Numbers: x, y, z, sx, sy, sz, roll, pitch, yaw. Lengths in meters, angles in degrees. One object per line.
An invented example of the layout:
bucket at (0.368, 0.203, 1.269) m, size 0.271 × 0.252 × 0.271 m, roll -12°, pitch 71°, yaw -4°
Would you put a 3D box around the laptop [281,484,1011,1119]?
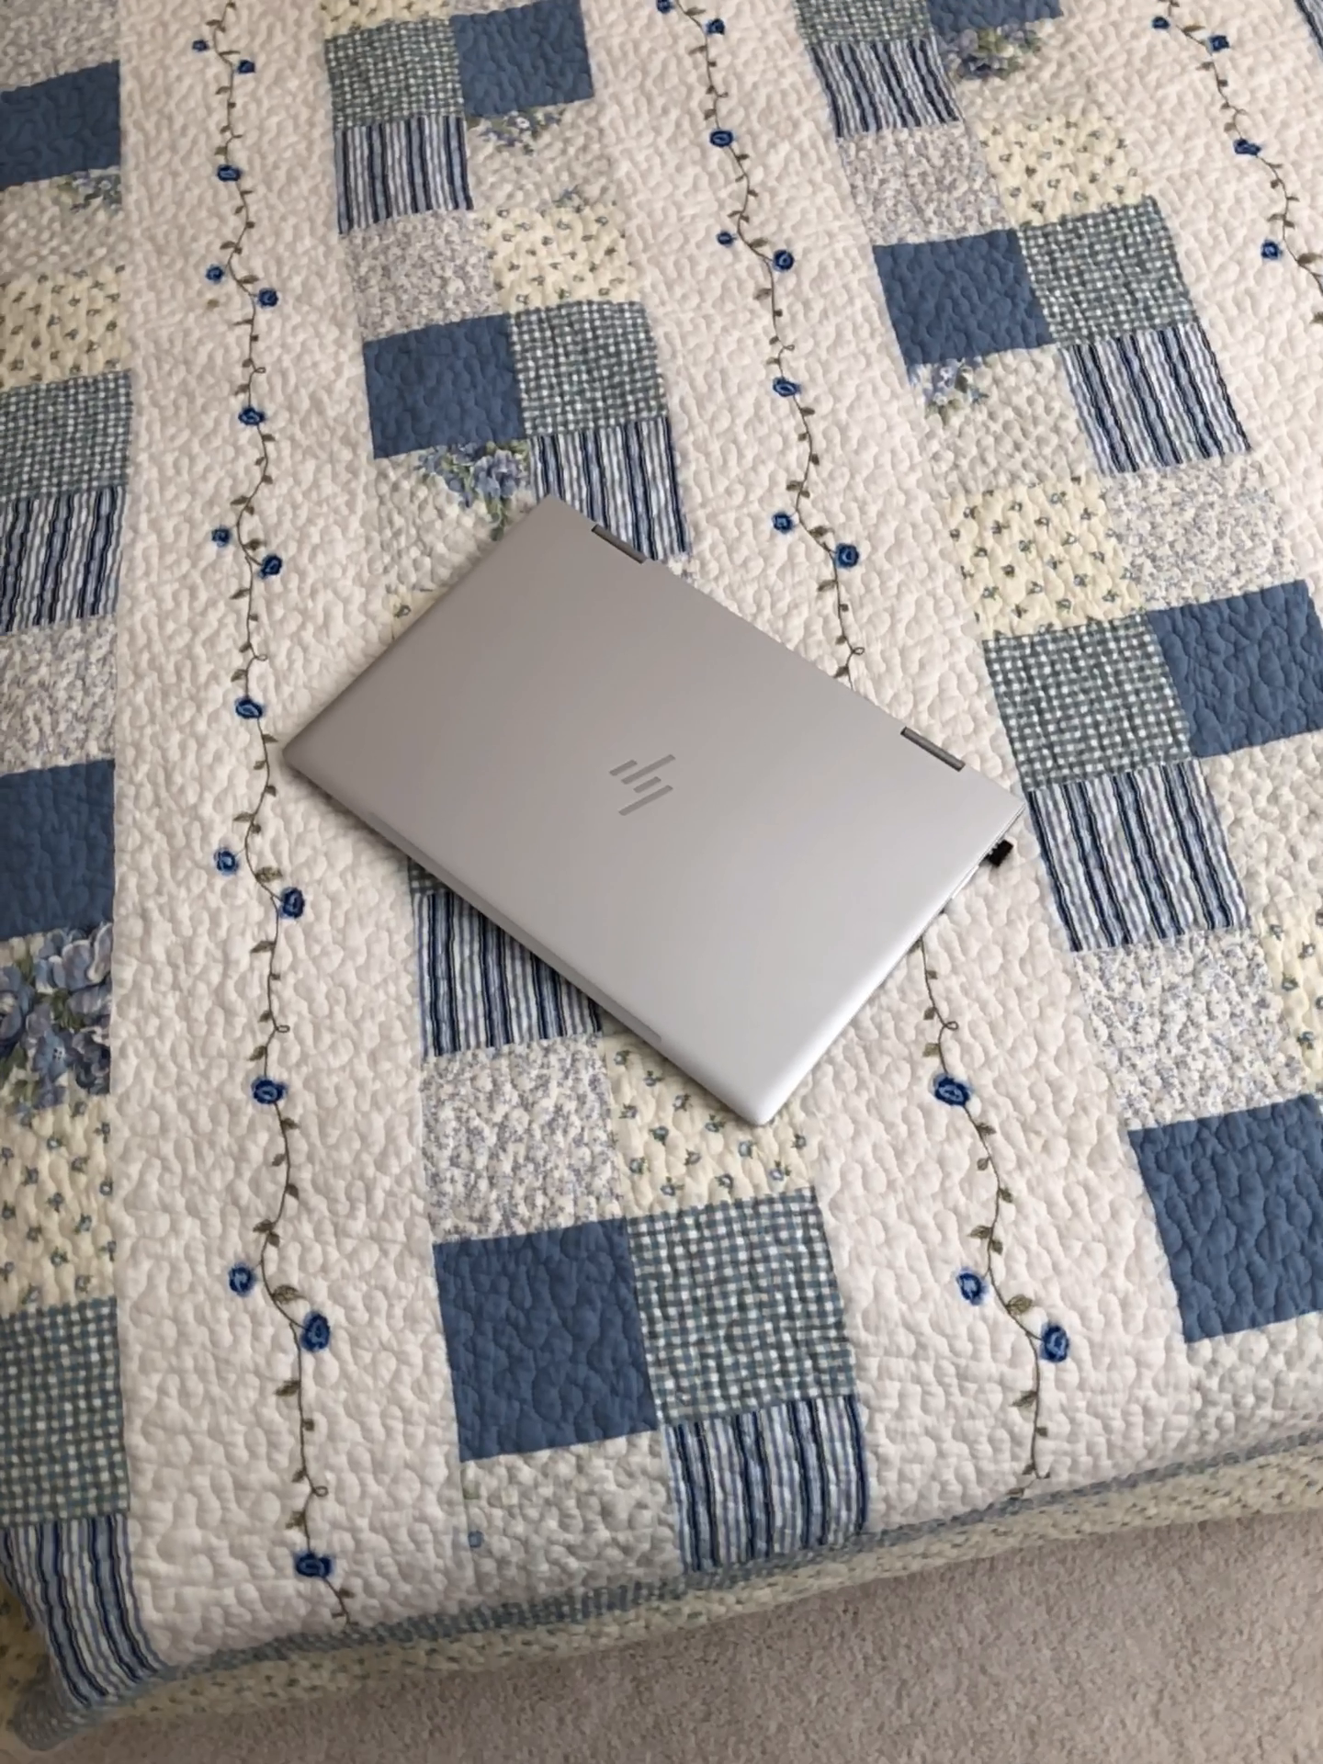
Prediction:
laptop at (-0.014, -0.070, 0.915) m, size 0.386 × 0.011 × 0.256 m, roll 36°, pitch 72°, yaw 17°
